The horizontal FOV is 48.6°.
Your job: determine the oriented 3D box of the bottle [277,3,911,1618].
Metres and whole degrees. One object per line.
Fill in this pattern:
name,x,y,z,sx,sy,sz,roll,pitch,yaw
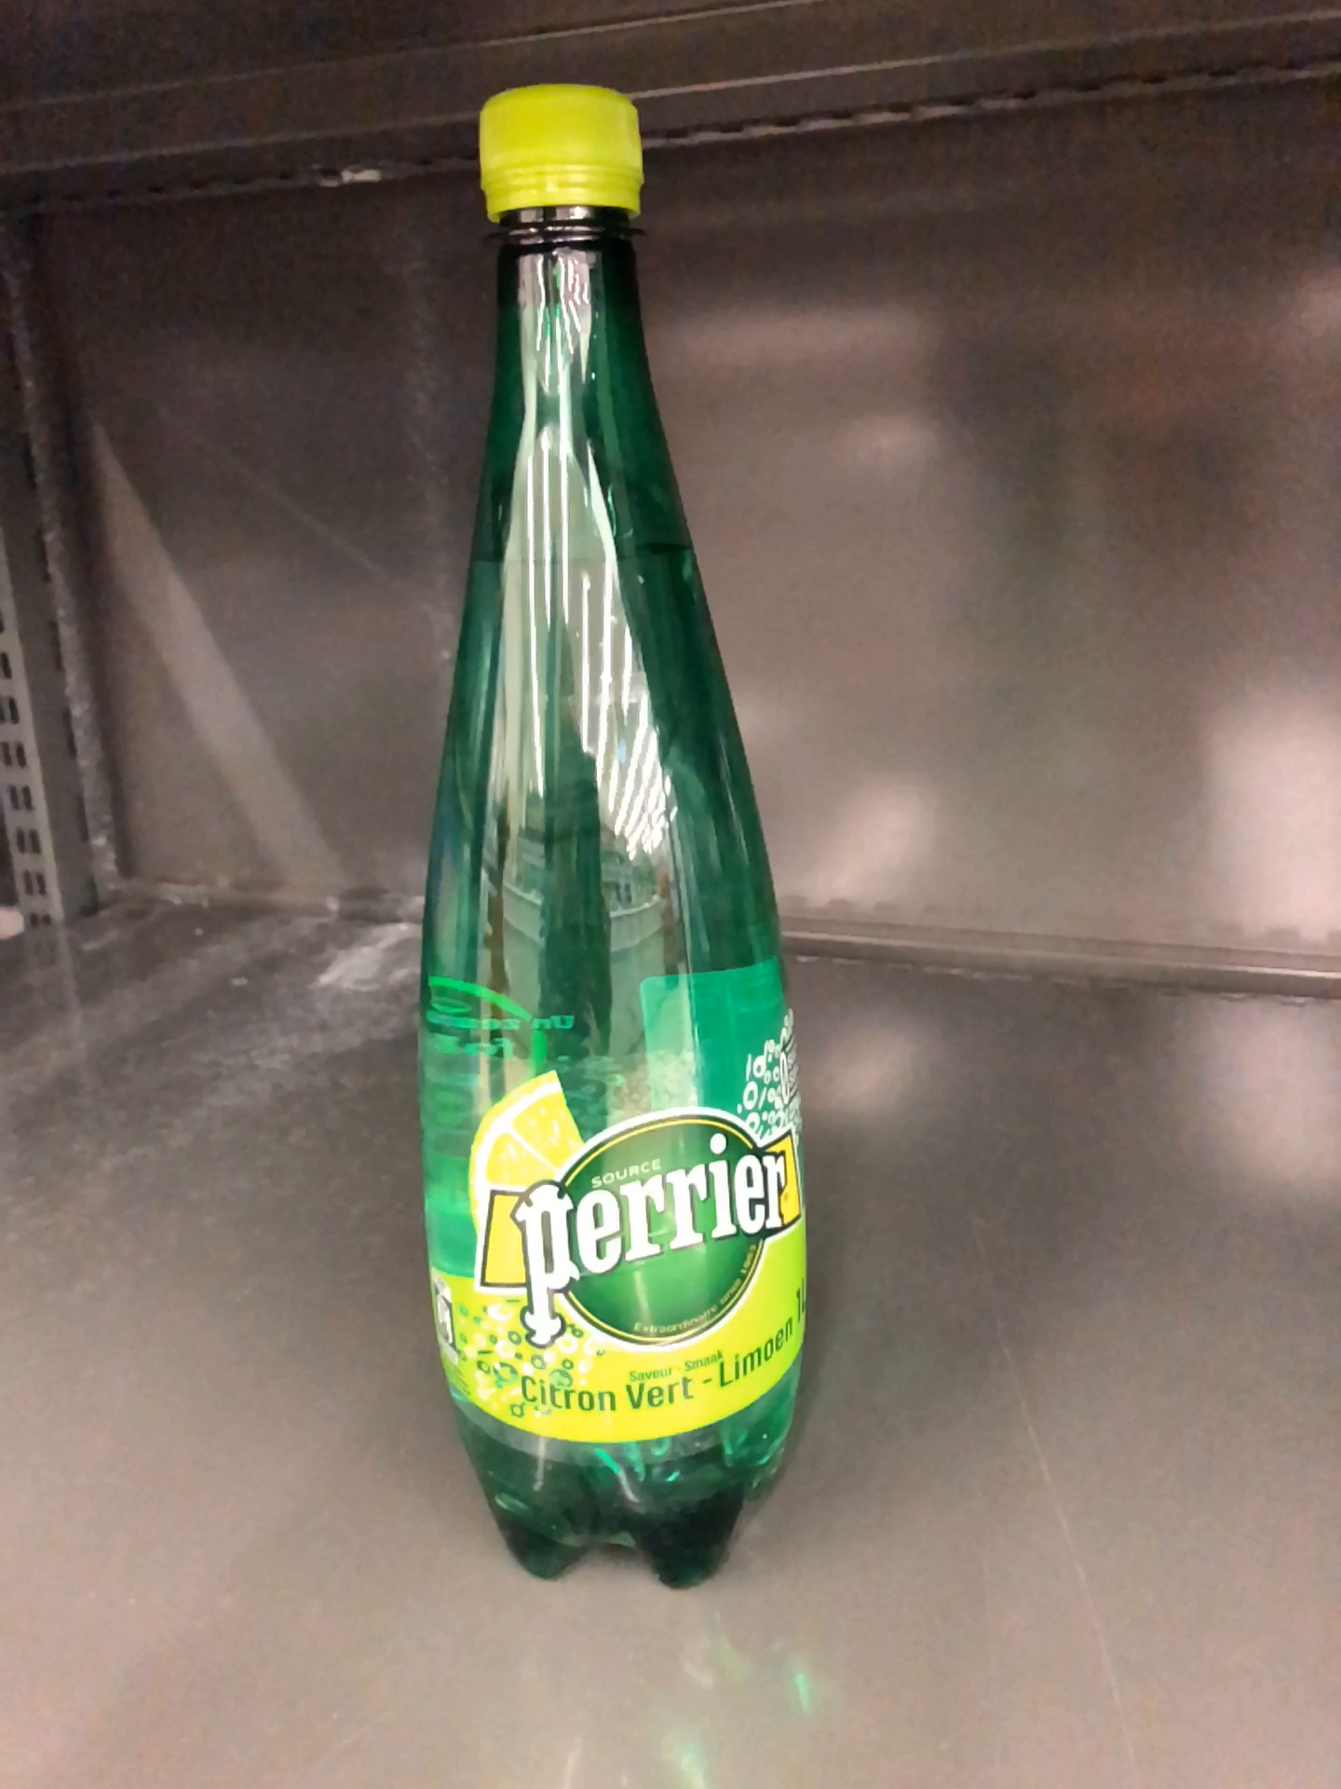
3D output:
bottle,-0.010,-0.009,0.318,0.100,0.299,0.090,-4,16,-6
